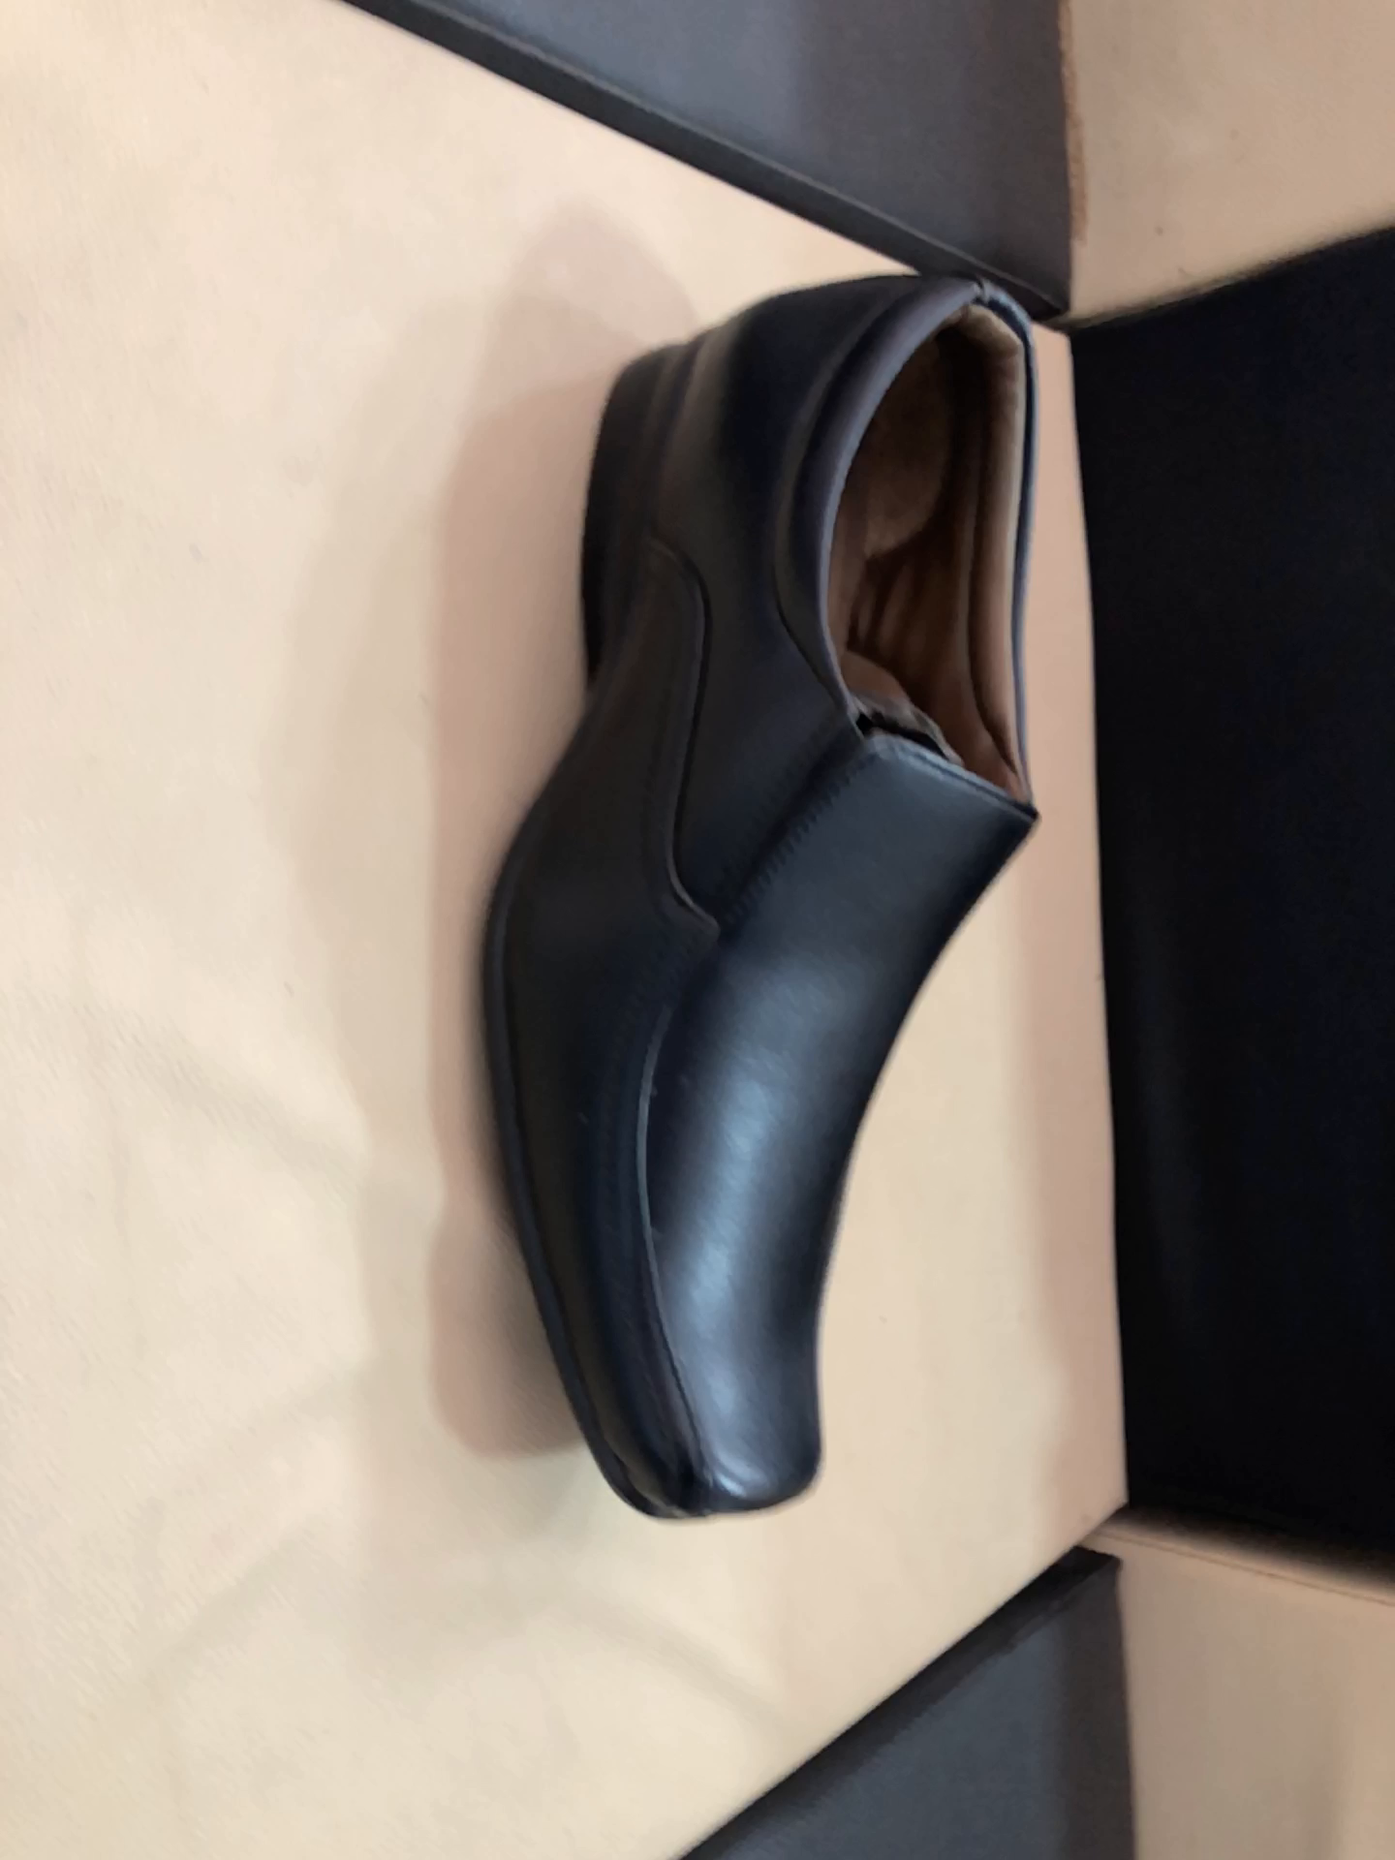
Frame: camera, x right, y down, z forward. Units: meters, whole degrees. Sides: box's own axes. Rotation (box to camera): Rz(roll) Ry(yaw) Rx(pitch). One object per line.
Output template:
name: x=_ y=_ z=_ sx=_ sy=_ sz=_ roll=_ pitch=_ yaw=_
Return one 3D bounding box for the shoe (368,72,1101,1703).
shoe: x=0.014 y=-0.011 z=0.356 sx=0.091 sy=0.099 sz=0.310 roll=16 pitch=78 yaw=-48
